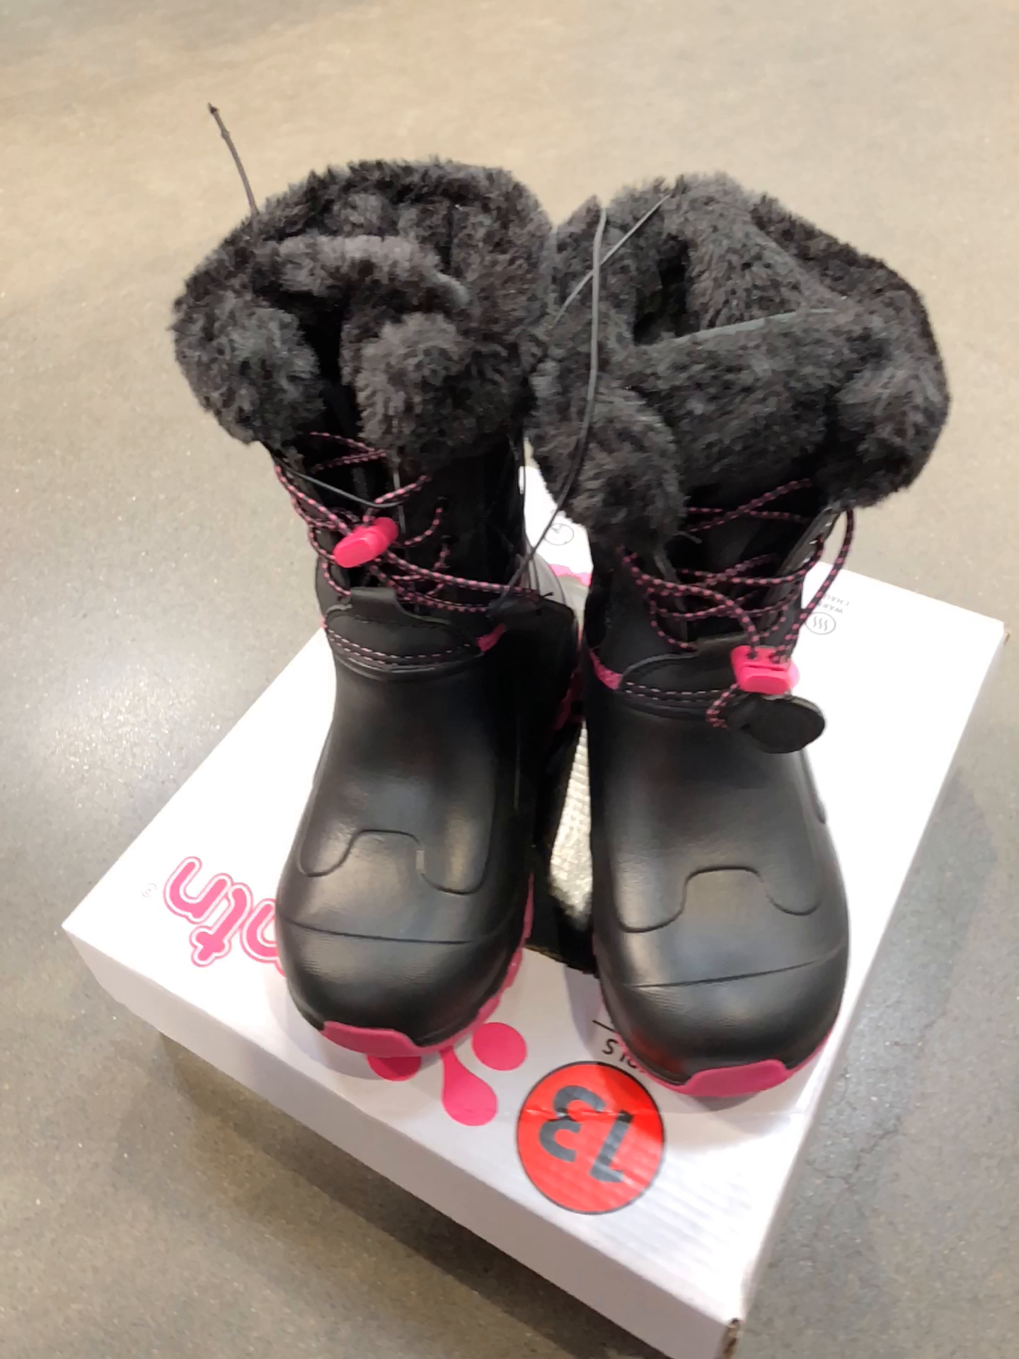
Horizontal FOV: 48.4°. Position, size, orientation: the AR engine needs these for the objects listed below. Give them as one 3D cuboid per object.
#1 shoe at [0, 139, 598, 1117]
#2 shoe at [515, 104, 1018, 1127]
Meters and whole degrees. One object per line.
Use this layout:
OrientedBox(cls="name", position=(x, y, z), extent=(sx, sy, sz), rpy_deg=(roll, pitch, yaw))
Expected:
OrientedBox(cls="shoe", position=(-0.042, -0.014, 0.364), extent=(0.110, 0.209, 0.221), rpy_deg=(6, 52, 9))
OrientedBox(cls="shoe", position=(0.064, -0.010, 0.355), extent=(0.110, 0.229, 0.221), rpy_deg=(-1, 51, 3))
